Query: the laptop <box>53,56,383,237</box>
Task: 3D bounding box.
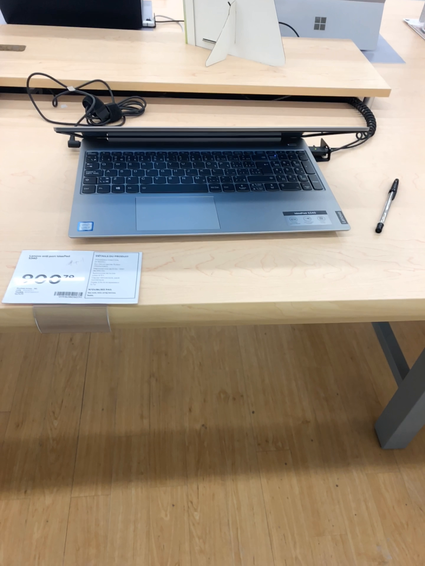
[{"bbox_3d":[-0.006,-0.188,0.614,0.351,0.122,0.235,-2,46,-8],"label":"laptop"}]
